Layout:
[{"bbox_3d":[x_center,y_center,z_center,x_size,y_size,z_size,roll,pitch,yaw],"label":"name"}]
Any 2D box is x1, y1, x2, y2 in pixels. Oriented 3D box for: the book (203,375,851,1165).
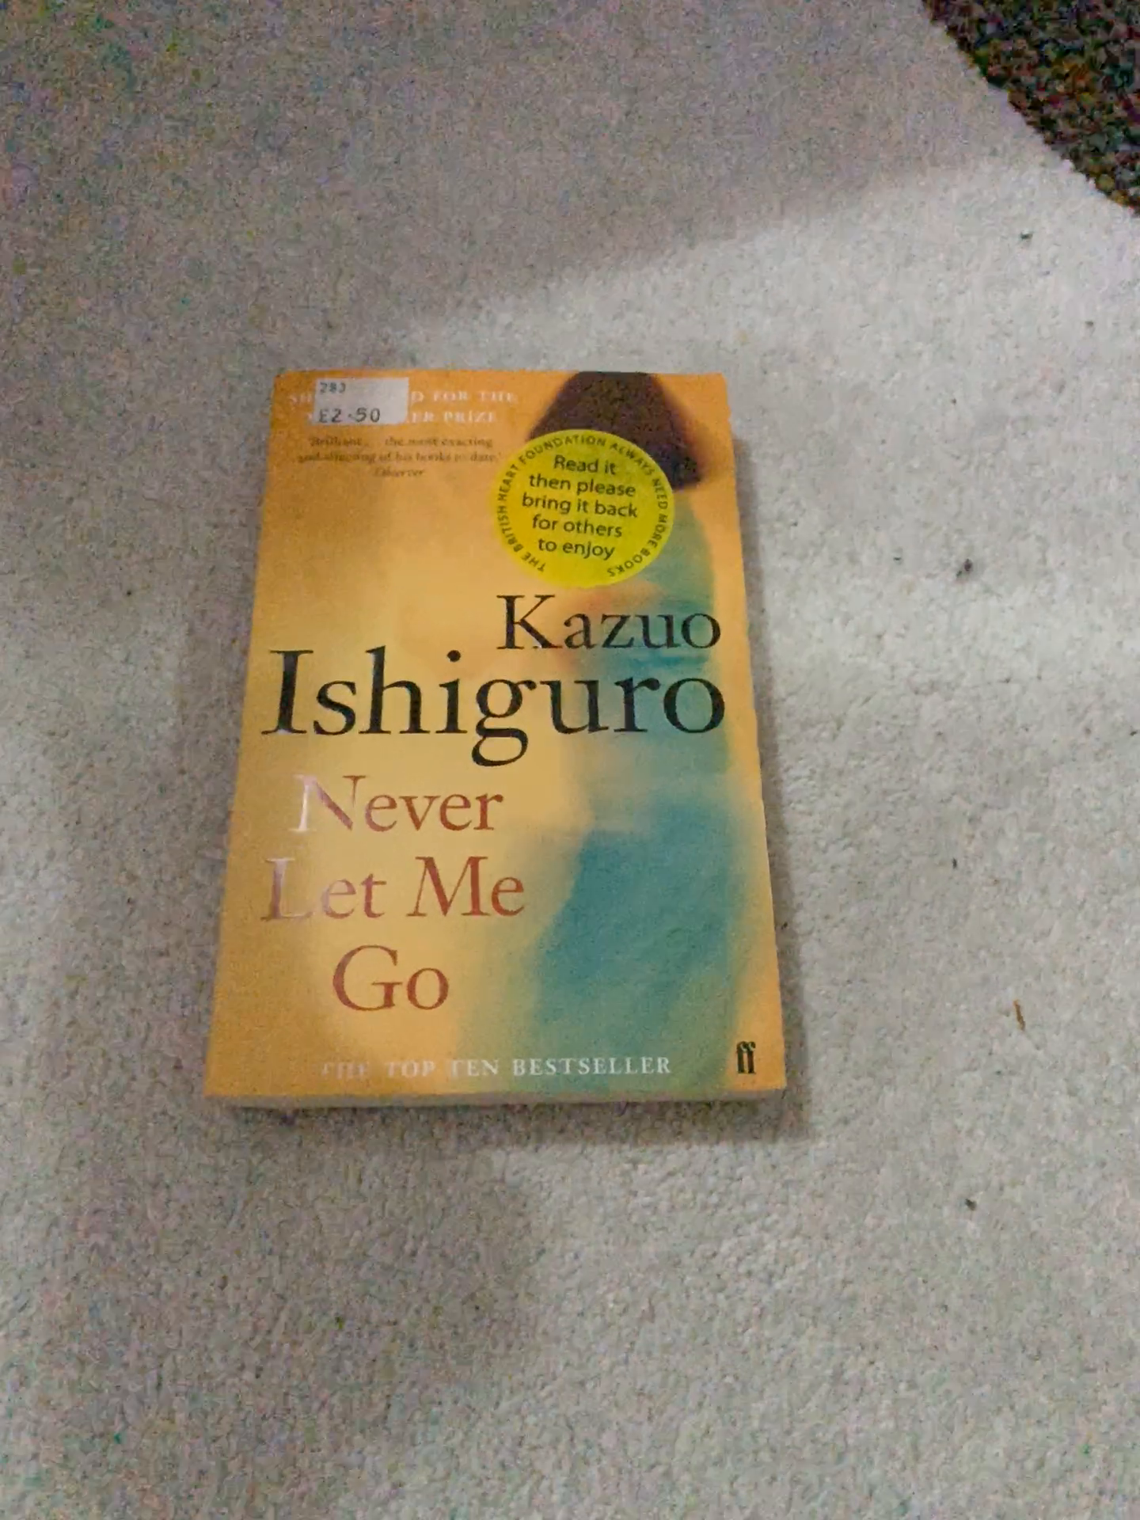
[{"bbox_3d":[-0.010,-0.008,0.304,0.140,0.020,0.211,0,67,-2],"label":"book"}]
